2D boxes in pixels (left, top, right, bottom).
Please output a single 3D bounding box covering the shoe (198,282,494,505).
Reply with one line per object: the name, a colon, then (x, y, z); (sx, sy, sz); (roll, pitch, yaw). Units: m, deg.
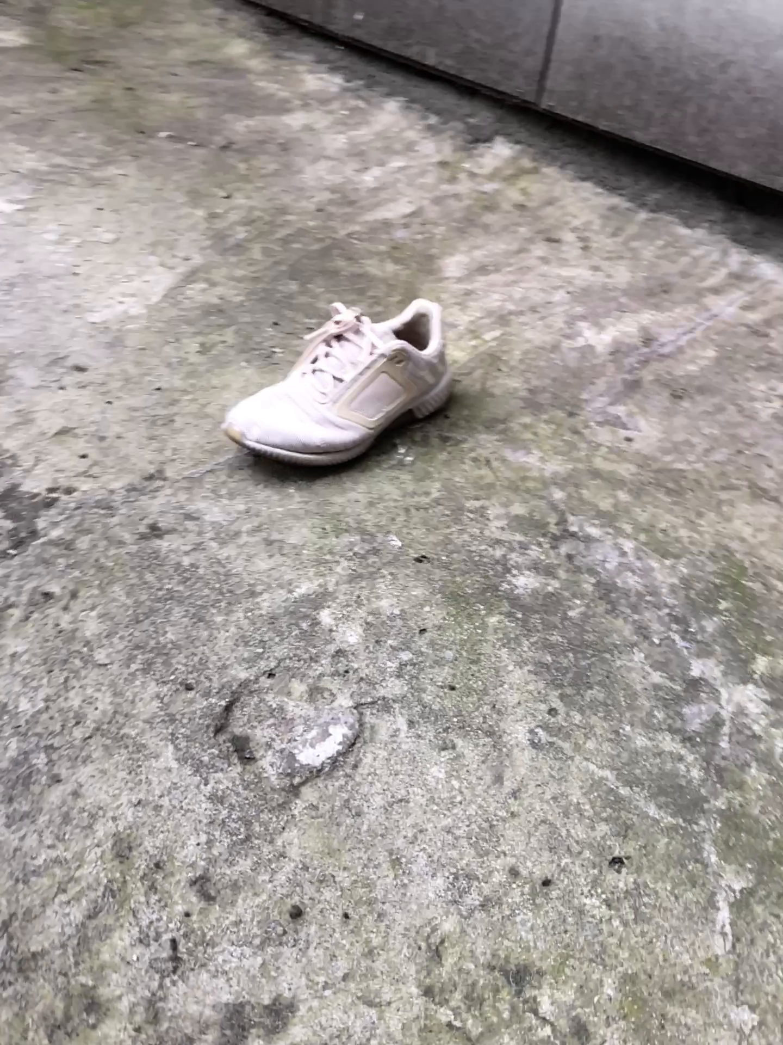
shoe: (-0.041, -0.147, 0.904); (0.120, 0.109, 0.301); (34, 45, 30)
